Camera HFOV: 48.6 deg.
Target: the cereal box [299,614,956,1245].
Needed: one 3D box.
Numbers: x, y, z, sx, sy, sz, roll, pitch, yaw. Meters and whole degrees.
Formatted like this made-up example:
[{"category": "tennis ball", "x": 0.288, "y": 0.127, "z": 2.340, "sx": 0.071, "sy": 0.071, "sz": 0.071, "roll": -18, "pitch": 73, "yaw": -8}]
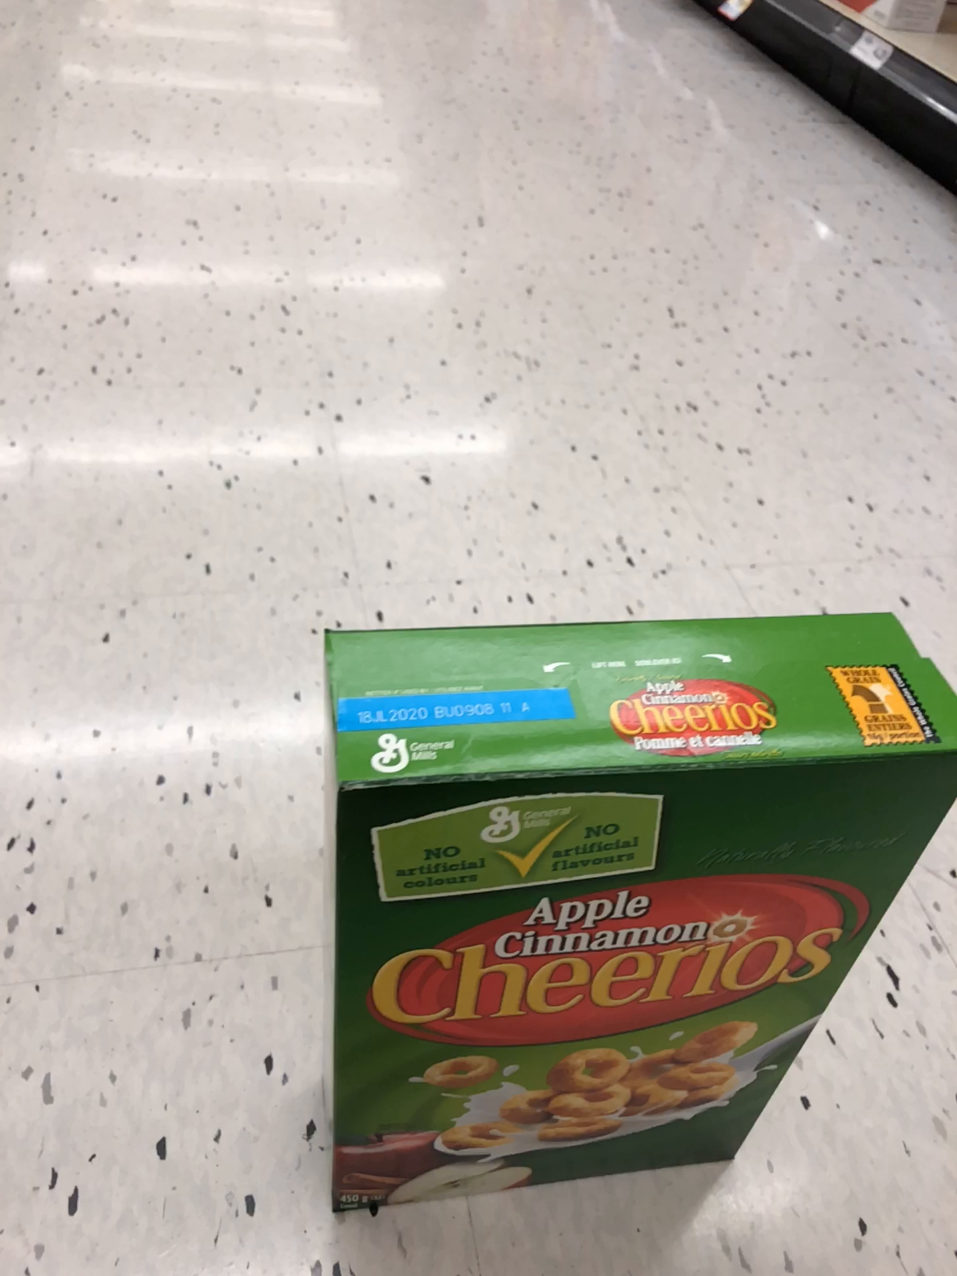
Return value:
[{"category": "cereal box", "x": 0.035, "y": 0.120, "z": 0.381, "sx": 0.190, "sy": 0.278, "sz": 0.060, "roll": -2, "pitch": 43, "yaw": -11}]
